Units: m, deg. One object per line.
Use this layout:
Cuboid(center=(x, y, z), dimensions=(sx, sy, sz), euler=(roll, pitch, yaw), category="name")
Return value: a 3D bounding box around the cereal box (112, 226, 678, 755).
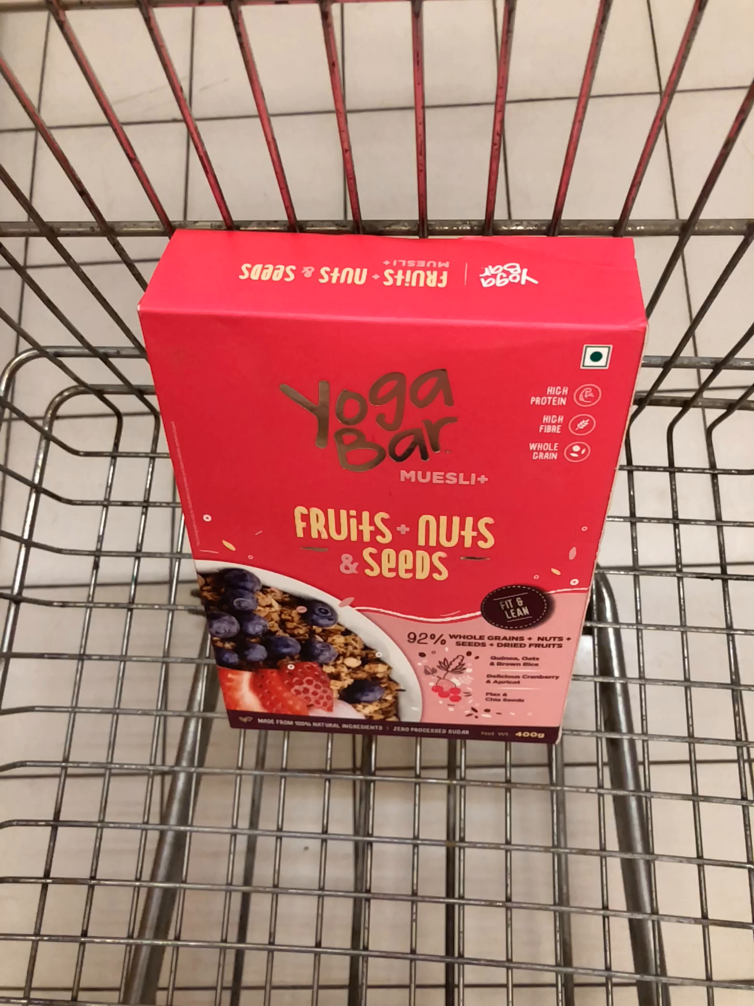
Cuboid(center=(0.008, 0.012, 0.355), dimensions=(0.170, 0.239, 0.060), euler=(2, 43, 4), category="cereal box")
